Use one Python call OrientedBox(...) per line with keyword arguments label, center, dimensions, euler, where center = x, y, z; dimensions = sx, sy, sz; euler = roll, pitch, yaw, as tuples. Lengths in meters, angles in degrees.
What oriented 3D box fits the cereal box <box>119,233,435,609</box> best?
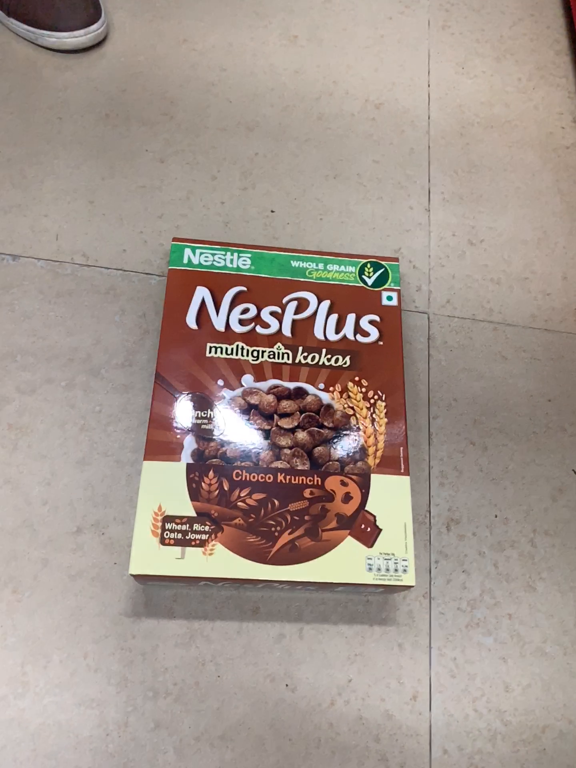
OrientedBox(label="cereal box", center=(-0.004, 0.030, 0.484), dimensions=(0.210, 0.090, 0.280), euler=(4, 68, -5))
